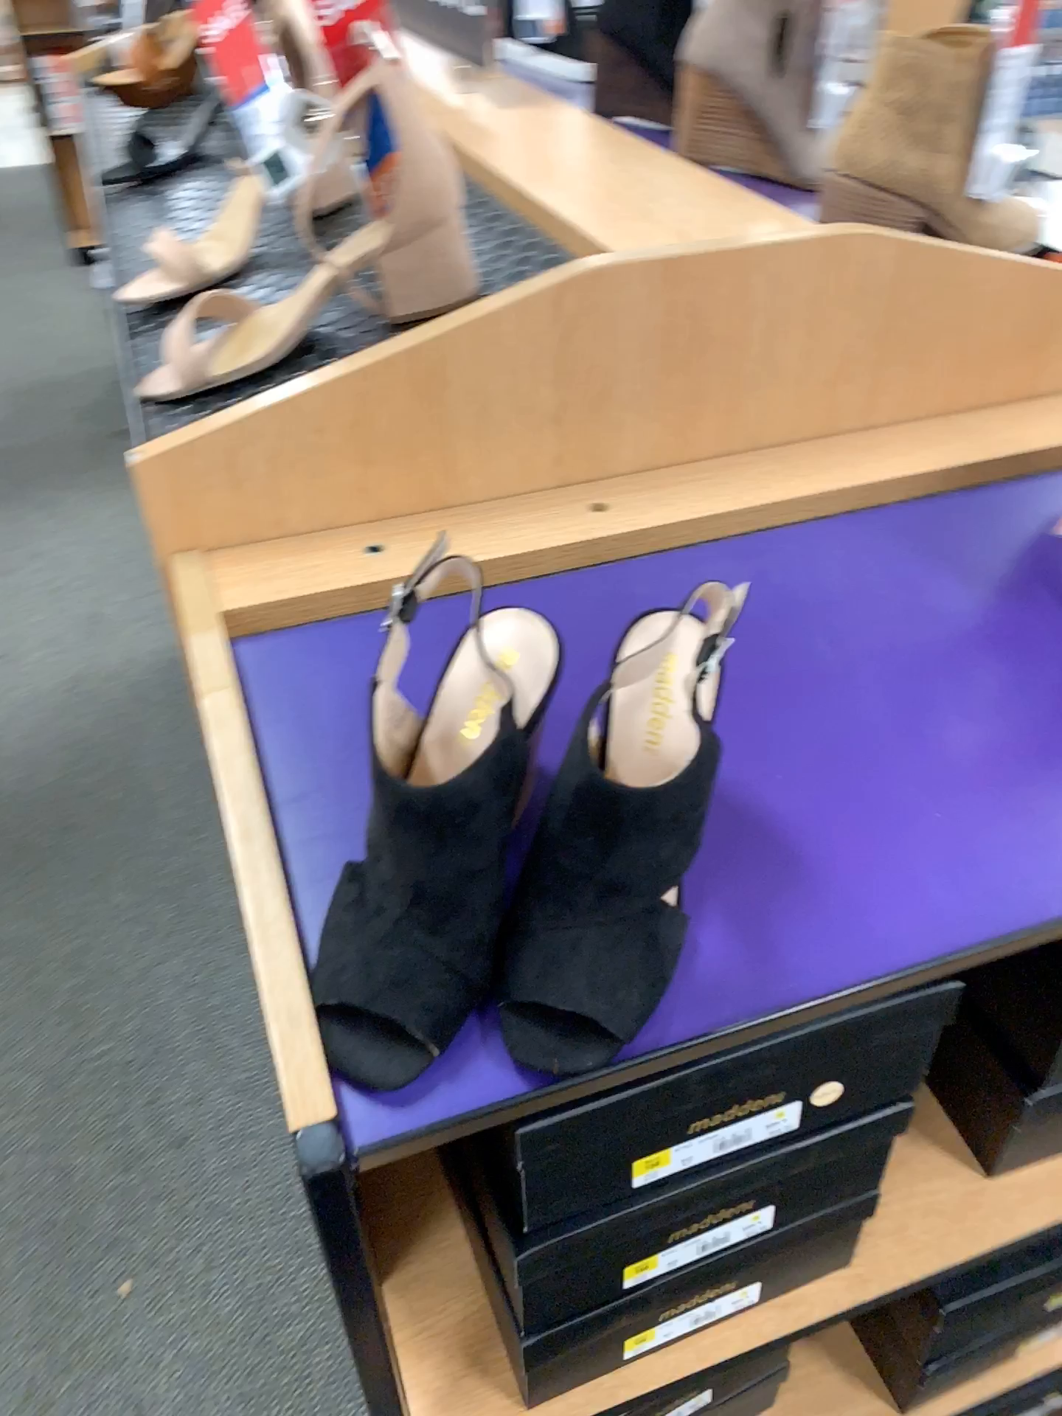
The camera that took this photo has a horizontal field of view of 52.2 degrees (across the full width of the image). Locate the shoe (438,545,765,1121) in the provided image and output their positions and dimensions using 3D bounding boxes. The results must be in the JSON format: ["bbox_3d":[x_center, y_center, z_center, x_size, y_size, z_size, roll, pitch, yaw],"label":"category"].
[{"bbox_3d":[0.042,0.050,0.487,0.080,0.109,0.221,11,57,15],"label":"shoe"}]

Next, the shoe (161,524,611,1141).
[{"bbox_3d":[-0.044,0.055,0.476,0.080,0.139,0.221,14,64,18],"label":"shoe"}]
